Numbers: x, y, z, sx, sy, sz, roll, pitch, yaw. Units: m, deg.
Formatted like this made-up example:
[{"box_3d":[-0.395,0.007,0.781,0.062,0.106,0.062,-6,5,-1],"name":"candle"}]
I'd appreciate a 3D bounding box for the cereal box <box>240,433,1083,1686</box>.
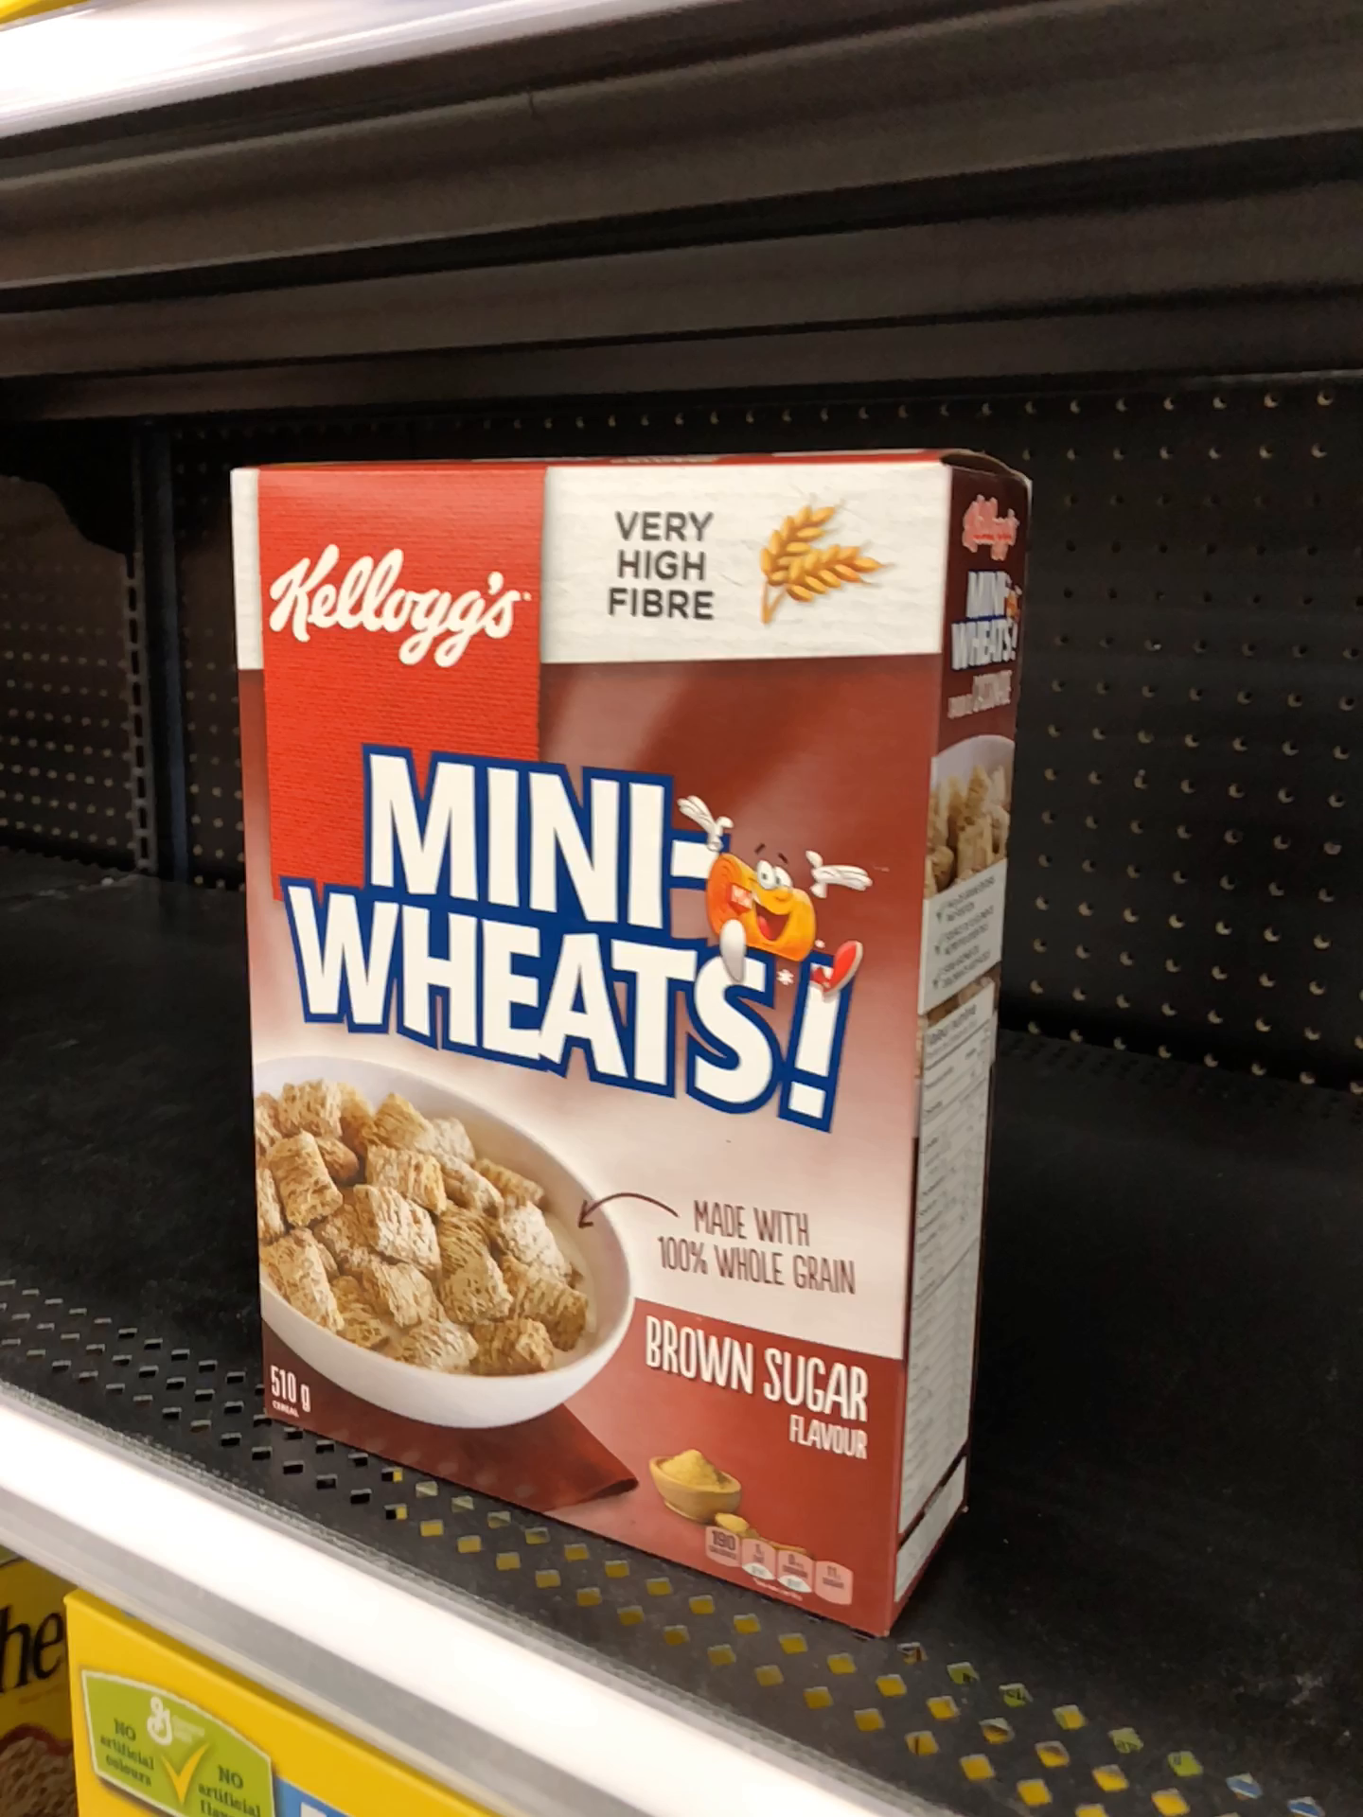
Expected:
[{"box_3d":[-0.013,0.026,0.393,0.200,0.279,0.060,8,14,28],"name":"cereal box"}]
